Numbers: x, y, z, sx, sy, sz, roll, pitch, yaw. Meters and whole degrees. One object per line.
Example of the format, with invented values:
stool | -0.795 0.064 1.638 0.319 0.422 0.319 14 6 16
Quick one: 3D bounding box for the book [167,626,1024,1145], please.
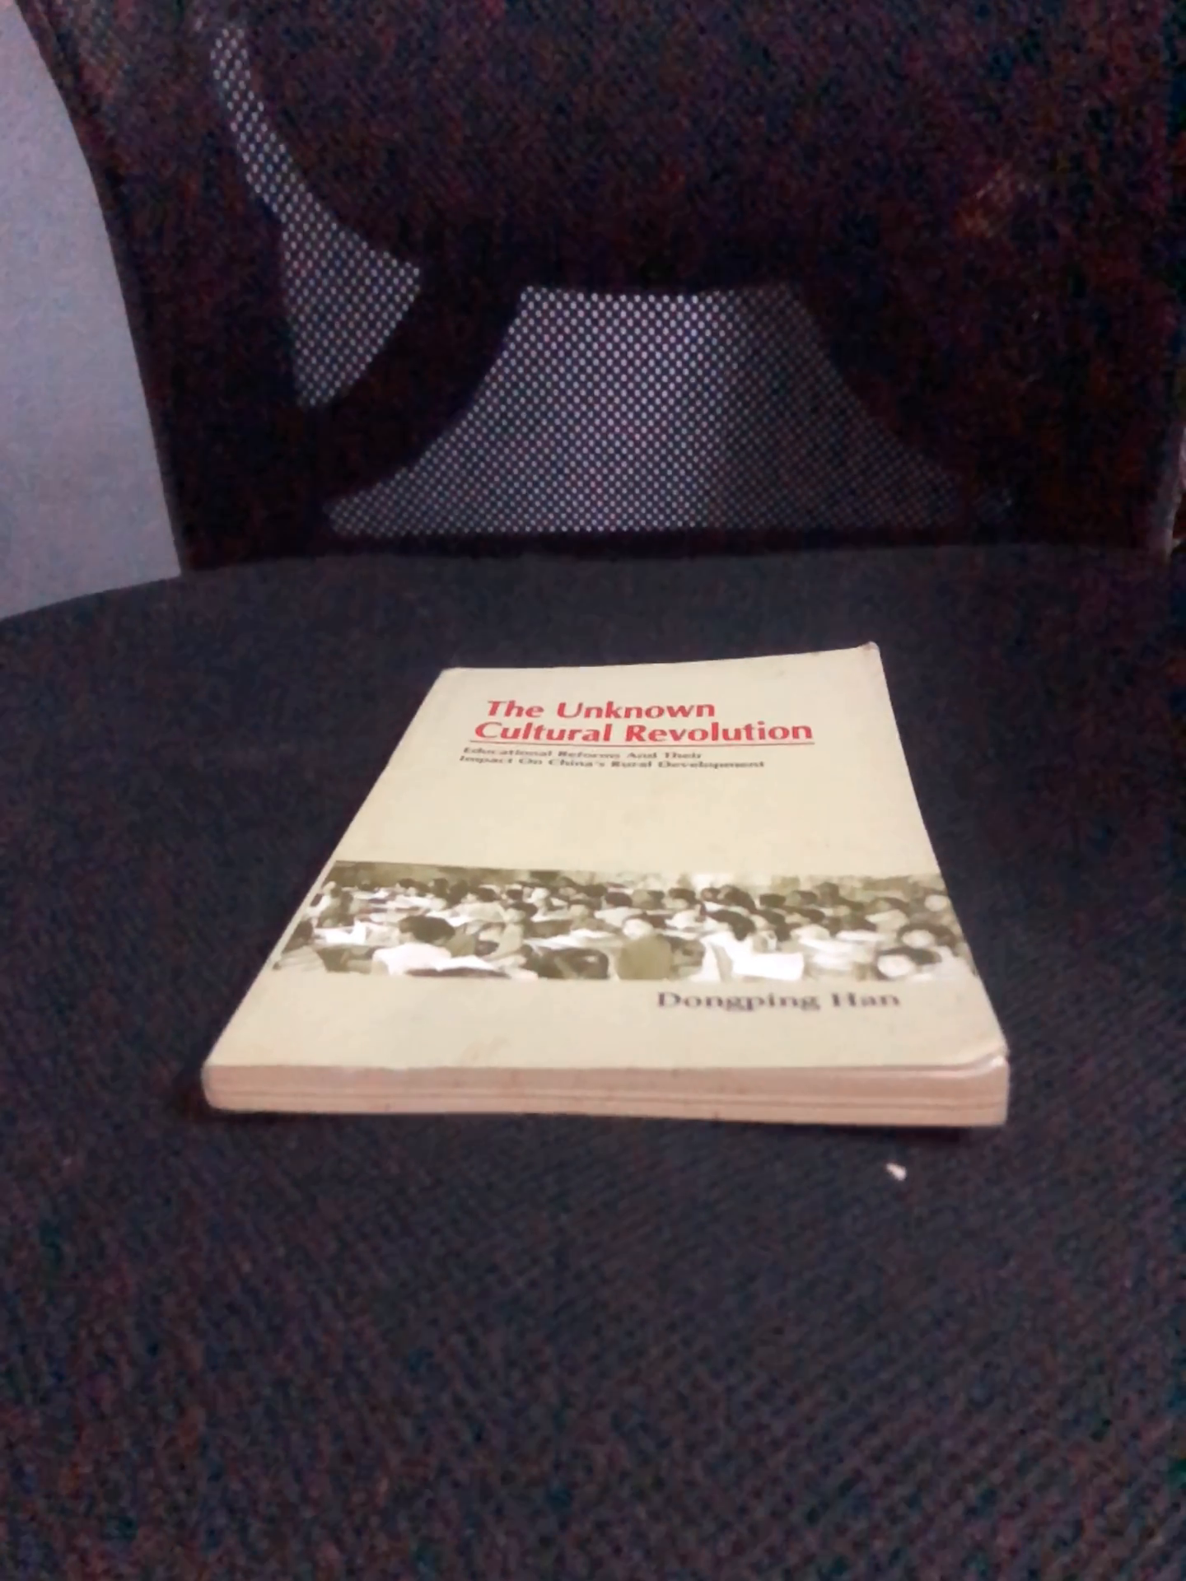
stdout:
book | 0.007 0.007 0.332 0.154 0.017 0.215 -1 28 6
